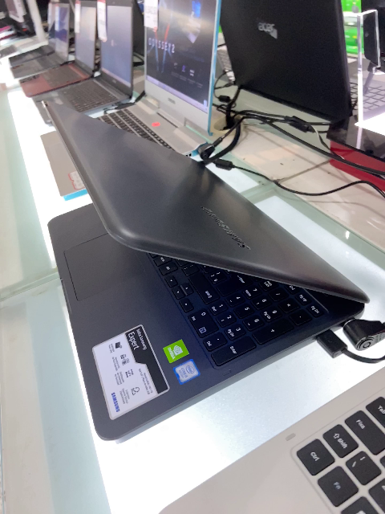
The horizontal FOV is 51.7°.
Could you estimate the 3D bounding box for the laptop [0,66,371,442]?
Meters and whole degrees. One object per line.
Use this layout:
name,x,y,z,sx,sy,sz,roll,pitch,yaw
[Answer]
laptop,-0.050,-0.060,0.409,0.231,0.146,0.367,-24,38,-12

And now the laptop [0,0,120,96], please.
laptop,-0.562,-0.872,1.633,0.379,0.230,0.298,-25,40,-13

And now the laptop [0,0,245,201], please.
laptop,-0.153,-0.341,0.724,0.331,0.240,0.370,-24,37,-10

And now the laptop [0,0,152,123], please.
laptop,-0.309,-0.519,1.033,0.263,0.195,0.301,-23,38,-11
